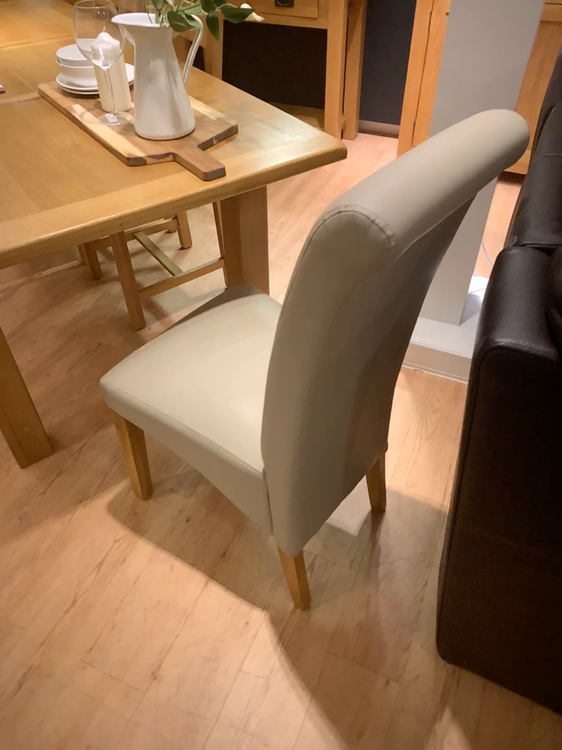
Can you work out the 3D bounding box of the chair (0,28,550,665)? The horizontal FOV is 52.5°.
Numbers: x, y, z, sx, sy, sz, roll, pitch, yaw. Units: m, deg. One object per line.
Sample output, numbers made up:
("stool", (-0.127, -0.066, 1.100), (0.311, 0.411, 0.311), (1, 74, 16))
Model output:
("chair", (-0.032, -0.035, 1.096), (0.637, 0.943, 0.478), (30, 51, 29))
